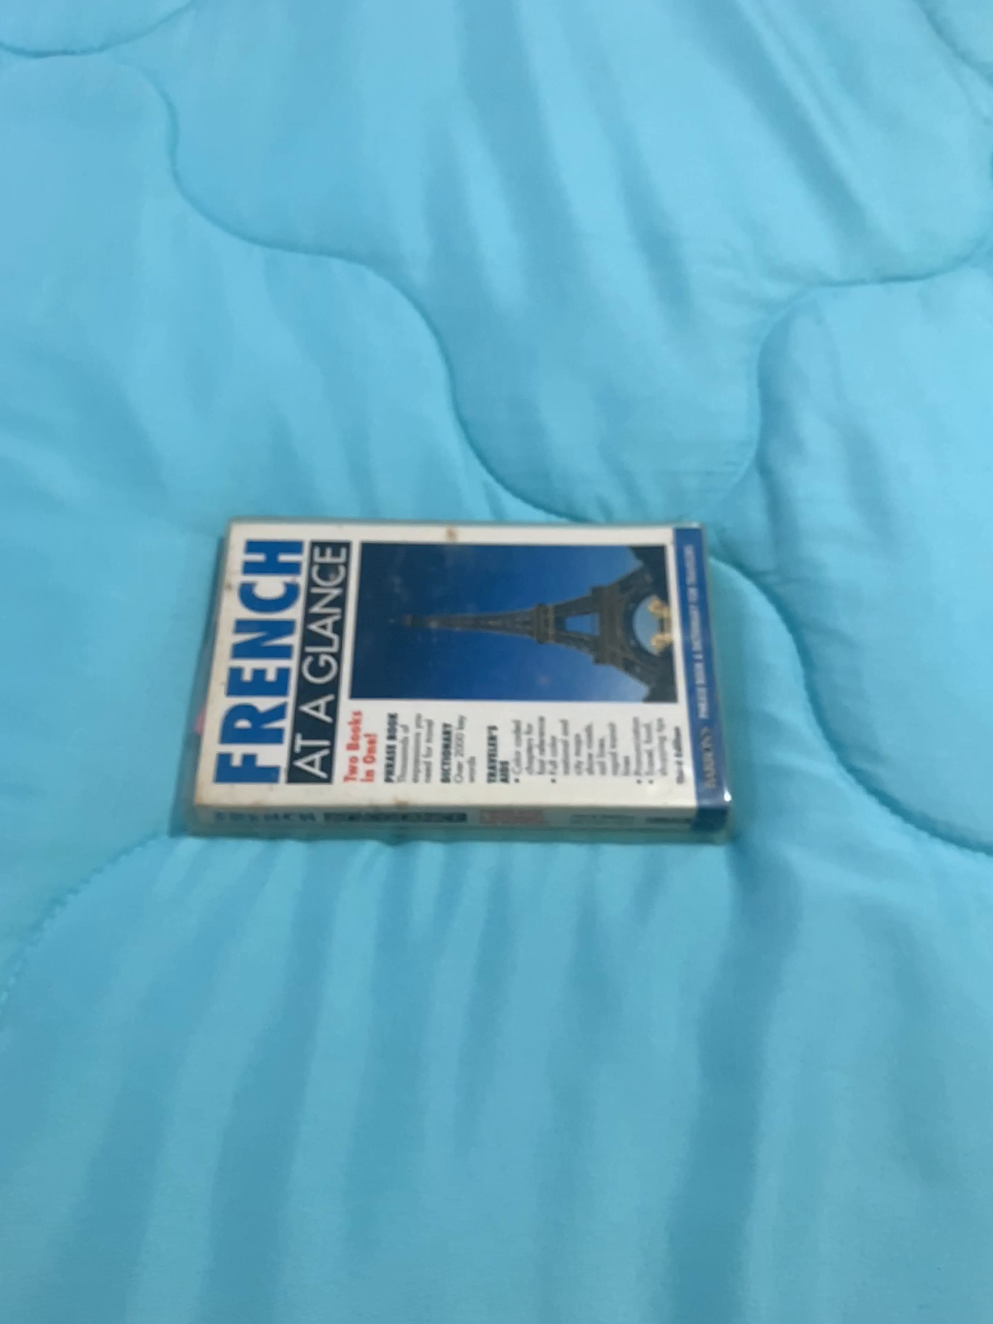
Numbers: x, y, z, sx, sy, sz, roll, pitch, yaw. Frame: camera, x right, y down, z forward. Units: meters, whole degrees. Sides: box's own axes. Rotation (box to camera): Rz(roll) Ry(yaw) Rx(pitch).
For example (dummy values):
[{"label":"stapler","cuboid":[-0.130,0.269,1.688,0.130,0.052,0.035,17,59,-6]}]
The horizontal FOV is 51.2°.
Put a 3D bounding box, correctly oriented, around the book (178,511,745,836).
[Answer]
[{"label":"book","cuboid":[-0.010,0.001,0.310,0.154,0.017,0.099,0,64,-1]}]
